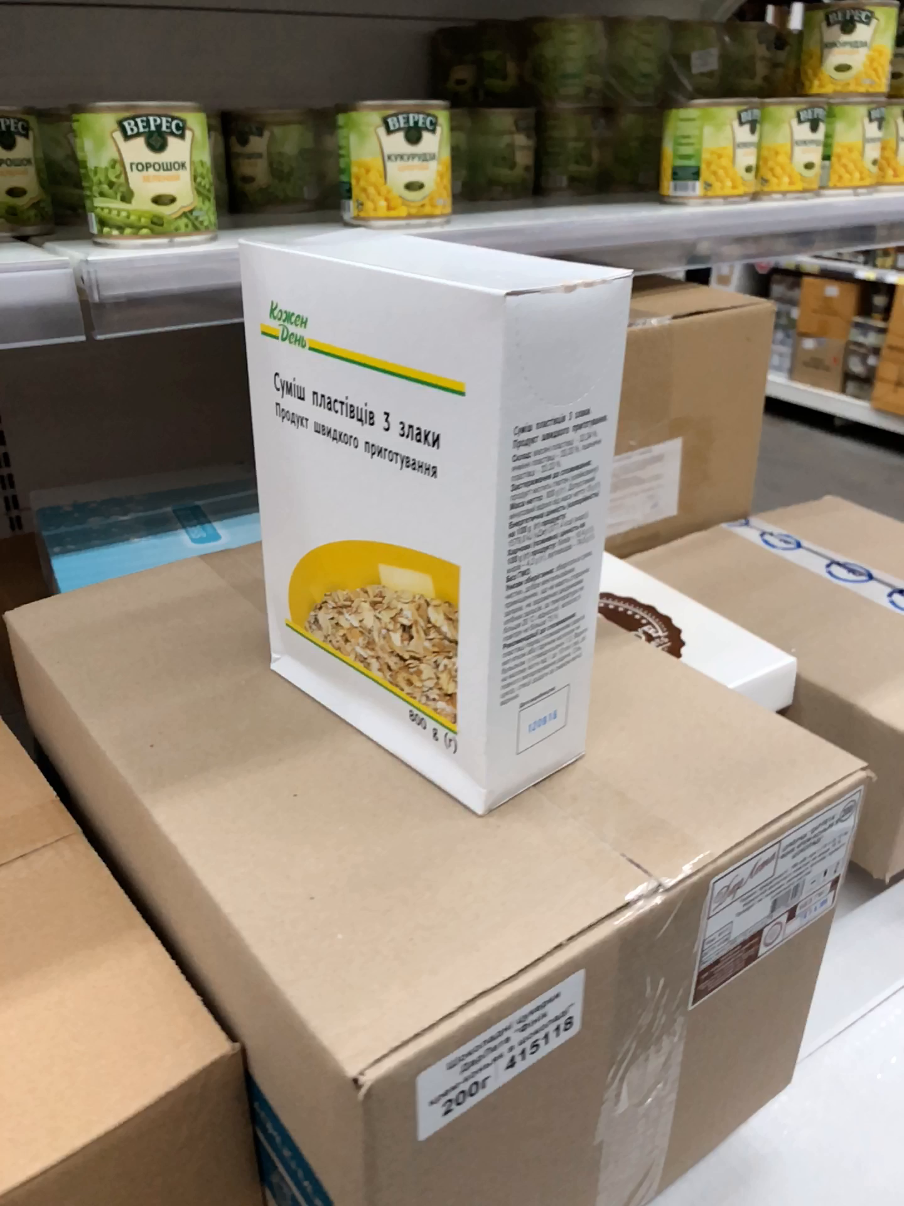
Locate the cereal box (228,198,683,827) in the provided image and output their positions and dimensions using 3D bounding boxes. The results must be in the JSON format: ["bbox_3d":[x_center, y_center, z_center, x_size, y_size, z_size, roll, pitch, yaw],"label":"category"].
[{"bbox_3d":[-0.008,-0.047,0.415,0.070,0.209,0.171,-23,35,-38],"label":"cereal box"}]
